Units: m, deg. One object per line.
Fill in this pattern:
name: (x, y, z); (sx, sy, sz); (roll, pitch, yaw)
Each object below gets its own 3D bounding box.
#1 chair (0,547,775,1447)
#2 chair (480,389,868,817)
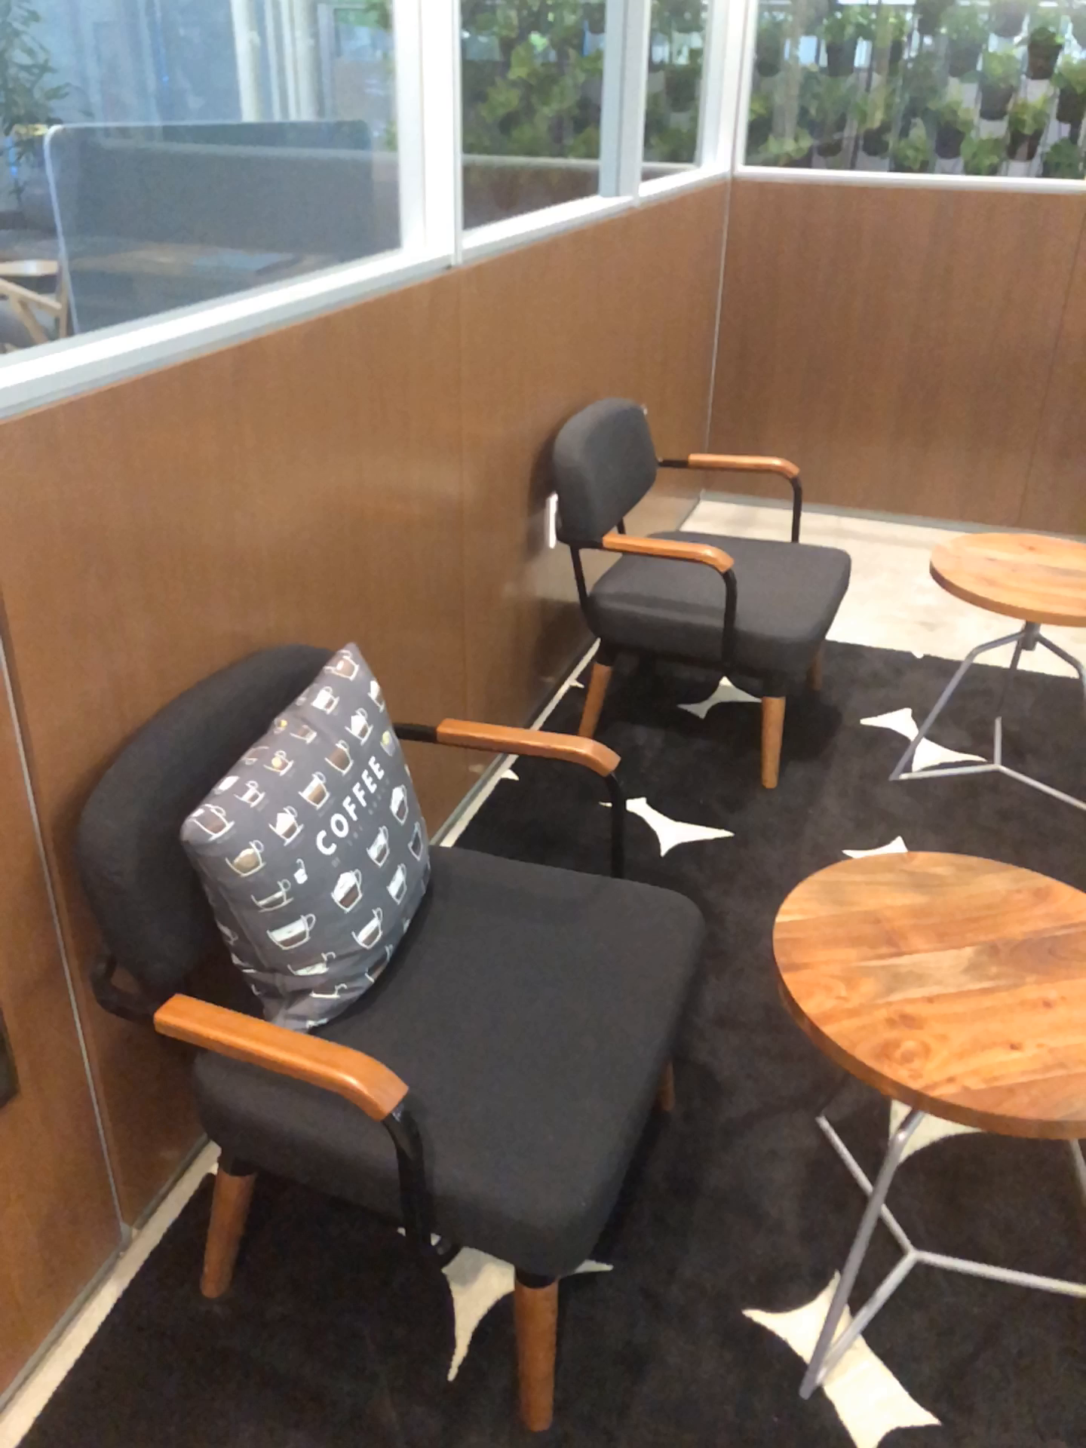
chair: (-0.087, 0.266, 1.461); (0.569, 0.715, 0.736); (8, 29, 19)
chair: (0.327, -0.319, 2.741); (0.679, 0.715, 0.686); (8, 29, 19)
